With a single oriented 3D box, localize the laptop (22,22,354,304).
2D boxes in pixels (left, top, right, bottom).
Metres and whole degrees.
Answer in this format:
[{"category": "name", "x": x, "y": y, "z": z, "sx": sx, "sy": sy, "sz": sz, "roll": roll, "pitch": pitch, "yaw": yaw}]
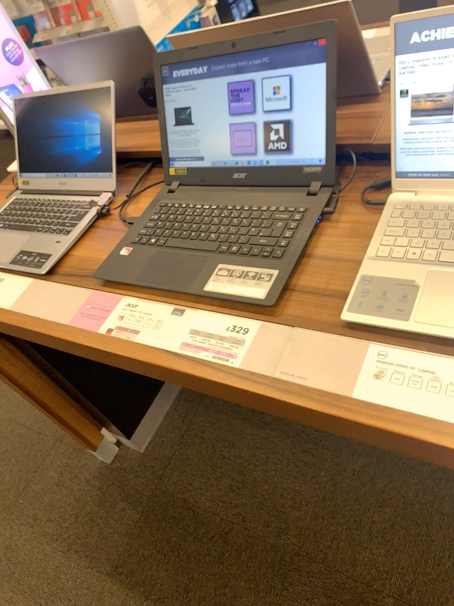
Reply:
[{"category": "laptop", "x": -0.032, "y": -0.217, "z": 0.704, "sx": 0.325, "sy": 0.193, "sz": 0.356, "roll": 9, "pitch": 53, "yaw": 31}]
